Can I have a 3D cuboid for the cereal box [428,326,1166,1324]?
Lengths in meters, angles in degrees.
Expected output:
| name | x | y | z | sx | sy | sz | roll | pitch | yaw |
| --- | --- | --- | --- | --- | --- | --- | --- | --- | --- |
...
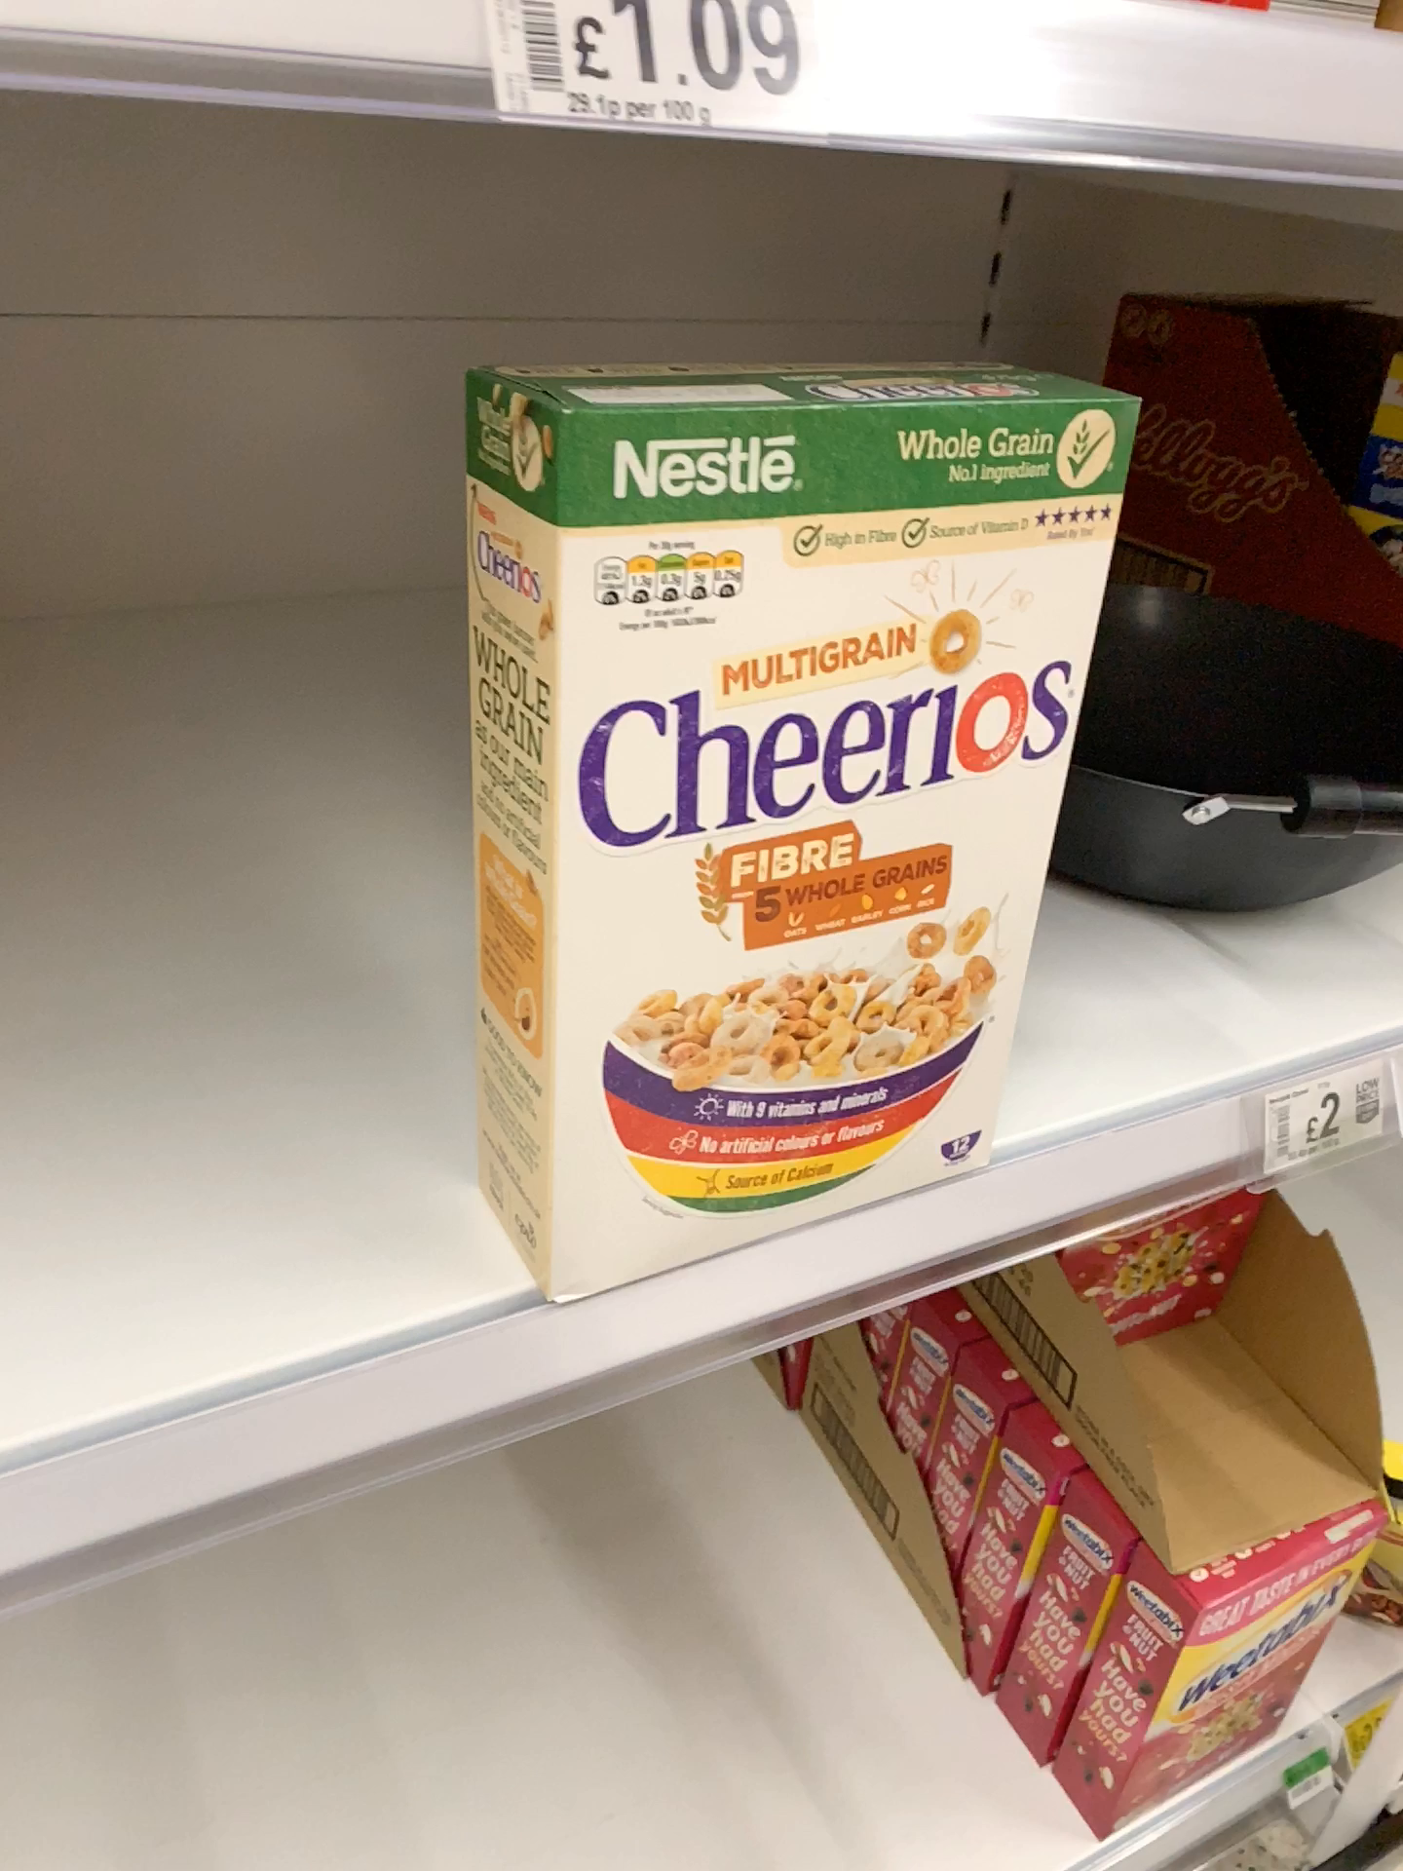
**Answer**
| name | x | y | z | sx | sy | sz | roll | pitch | yaw |
| --- | --- | --- | --- | --- | --- | --- | --- | --- | --- |
| cereal box | 0.023 | -0.037 | 0.468 | 0.201 | 0.287 | 0.070 | -12 | 32 | -28 |
